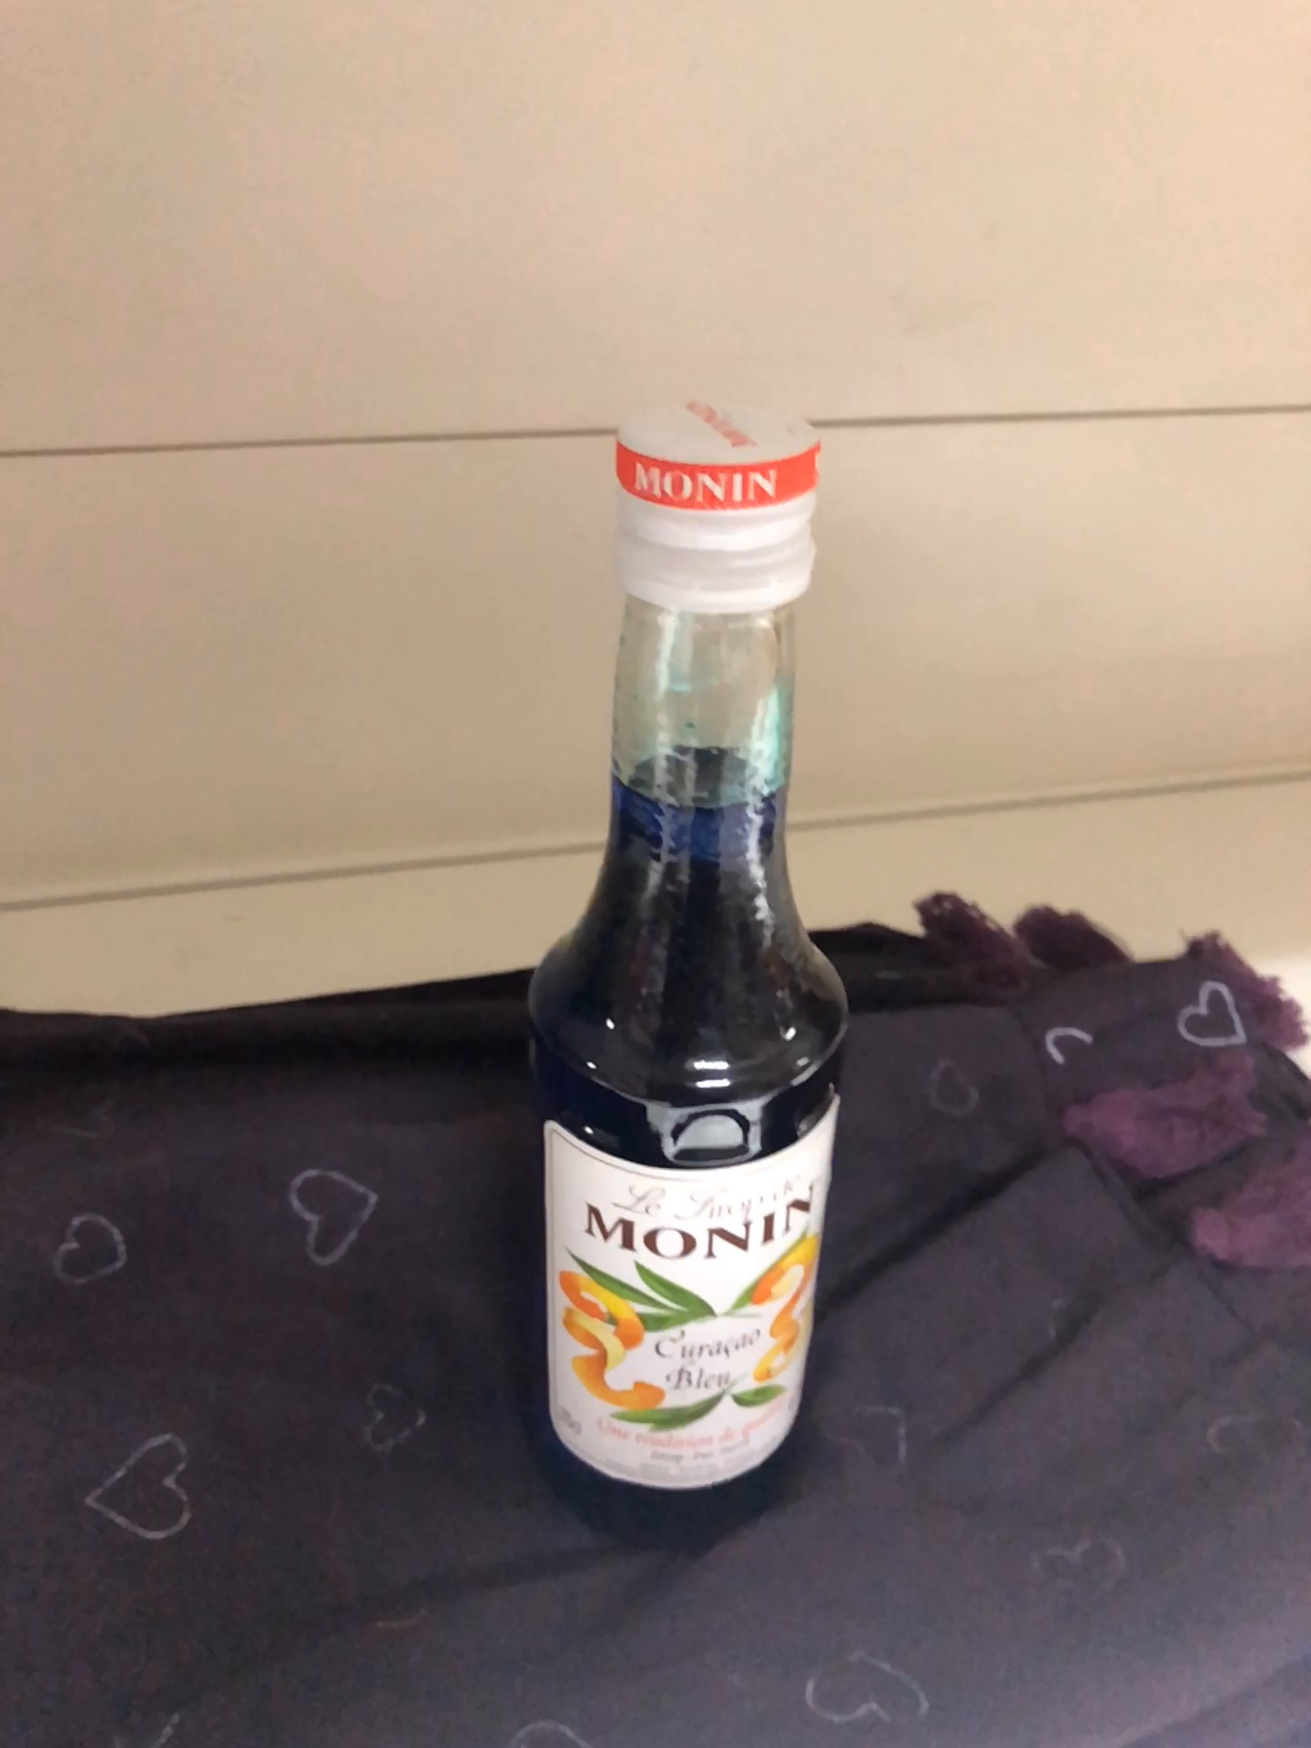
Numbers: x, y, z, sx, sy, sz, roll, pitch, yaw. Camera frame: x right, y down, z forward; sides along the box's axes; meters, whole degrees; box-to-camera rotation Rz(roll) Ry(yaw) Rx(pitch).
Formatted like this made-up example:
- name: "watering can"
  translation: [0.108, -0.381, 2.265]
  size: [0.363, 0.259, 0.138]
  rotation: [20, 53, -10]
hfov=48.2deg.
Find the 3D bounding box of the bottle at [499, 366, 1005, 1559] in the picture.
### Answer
- name: "bottle"
  translation: [0.009, 0.025, 0.257]
  size: [0.060, 0.209, 0.050]
  rotation: [-5, 30, -11]
